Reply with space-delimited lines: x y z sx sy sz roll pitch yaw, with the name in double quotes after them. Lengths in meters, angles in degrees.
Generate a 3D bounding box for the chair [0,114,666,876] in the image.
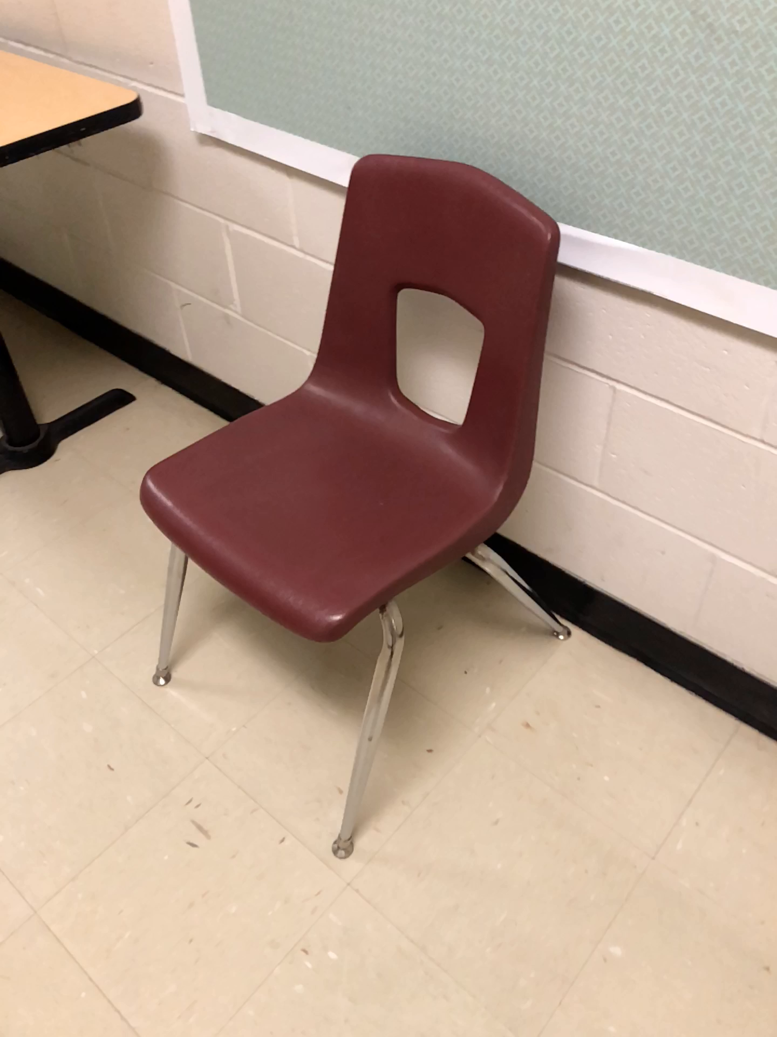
-0.062 -0.043 1.149 0.506 0.707 0.554 32 54 30 "chair"
